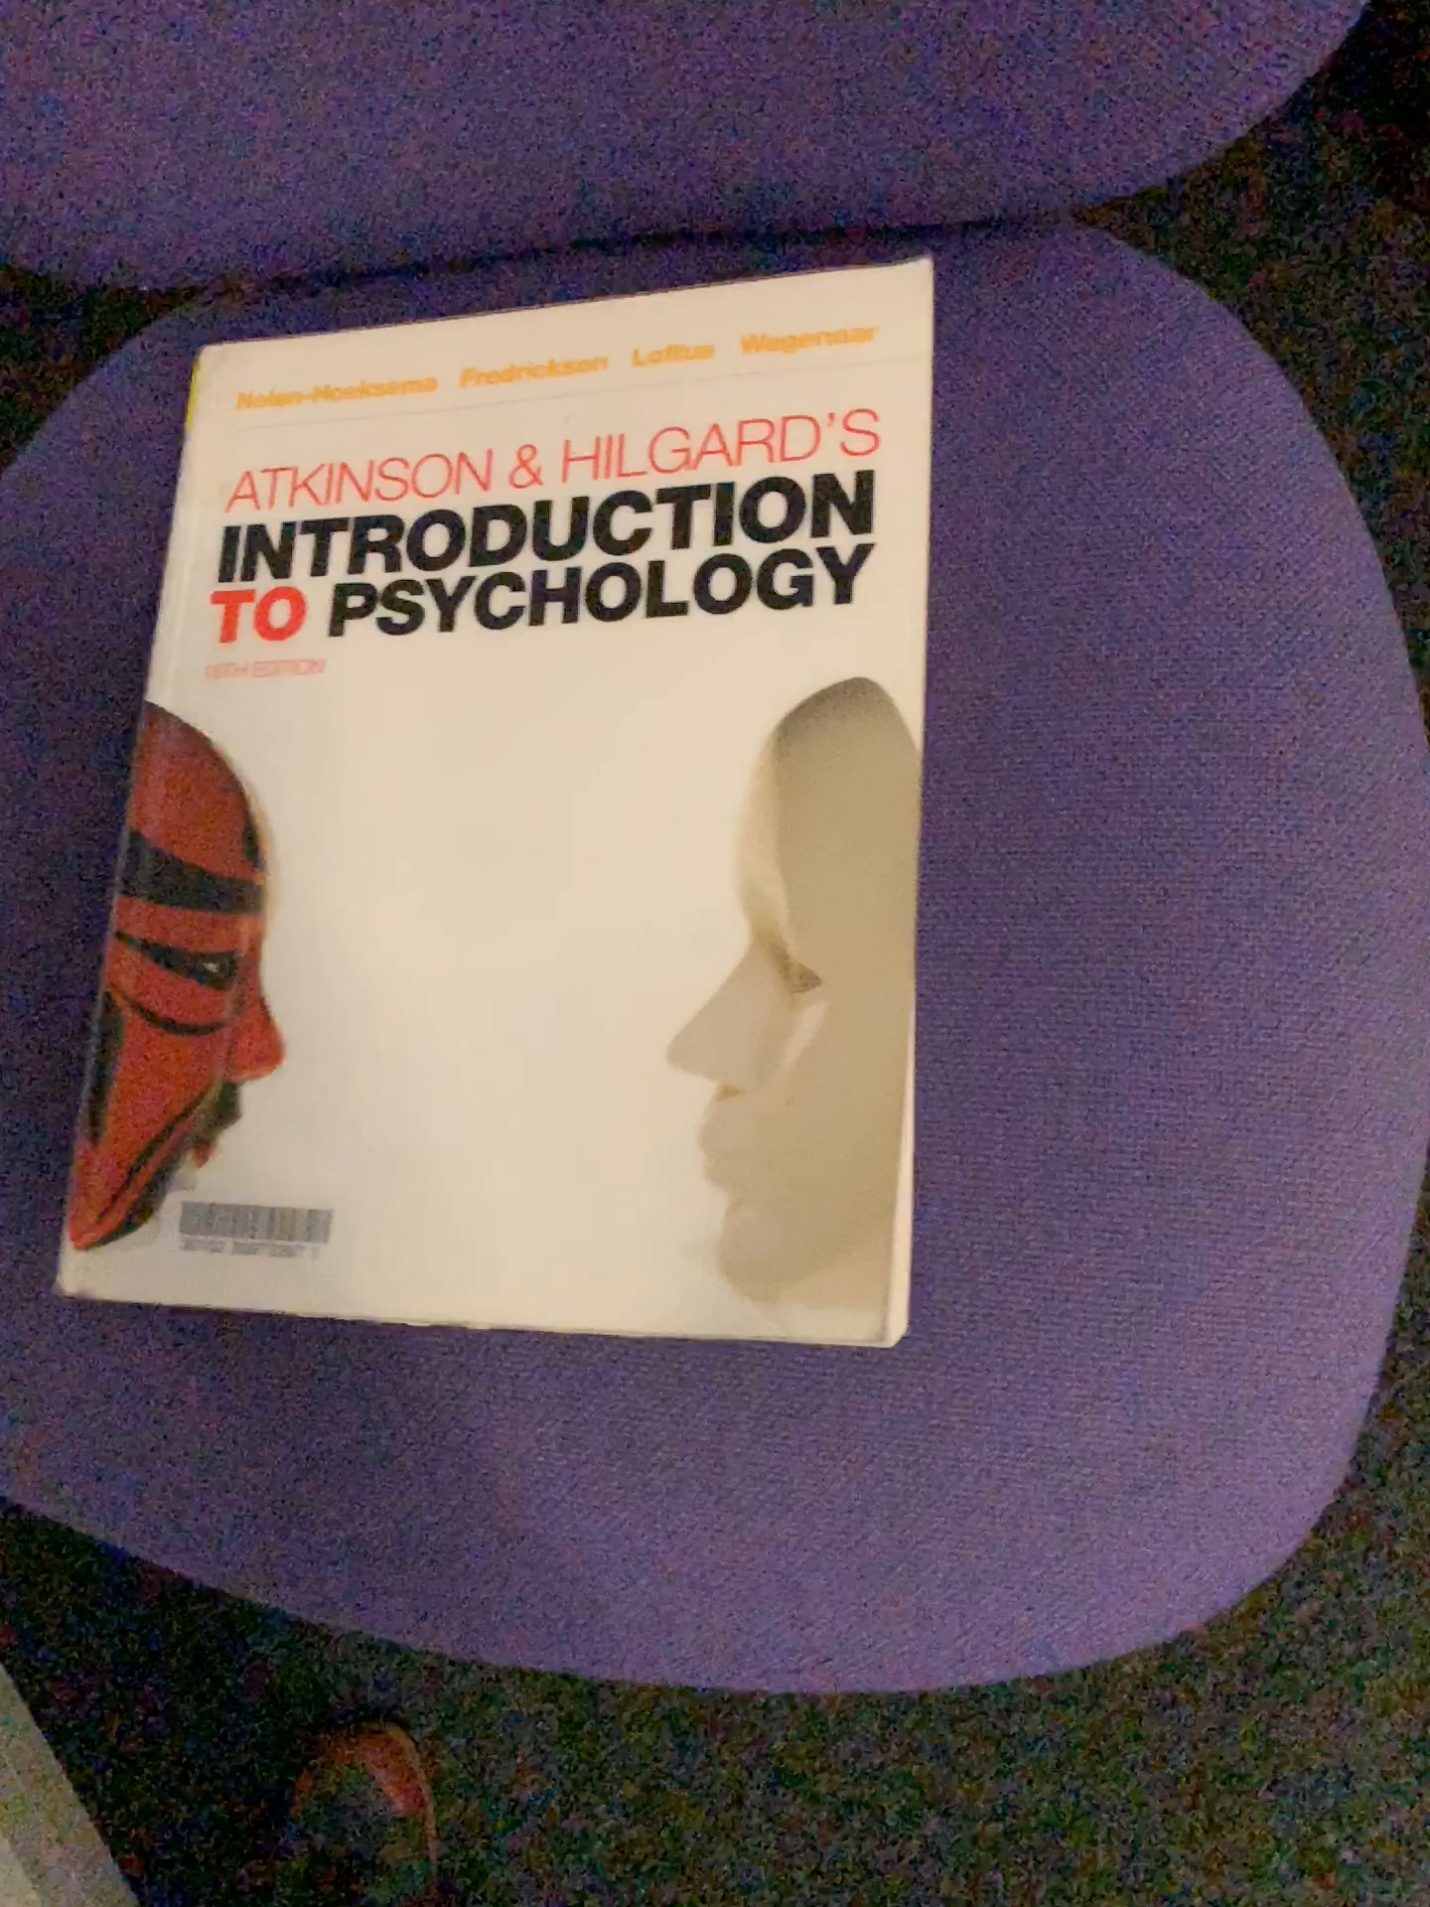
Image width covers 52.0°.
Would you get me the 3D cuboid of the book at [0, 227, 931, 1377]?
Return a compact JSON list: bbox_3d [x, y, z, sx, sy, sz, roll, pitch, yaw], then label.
[{"bbox_3d":[-0.061,-0.045,0.382,0.222,0.035,0.283,0,74,14],"label":"book"}]
